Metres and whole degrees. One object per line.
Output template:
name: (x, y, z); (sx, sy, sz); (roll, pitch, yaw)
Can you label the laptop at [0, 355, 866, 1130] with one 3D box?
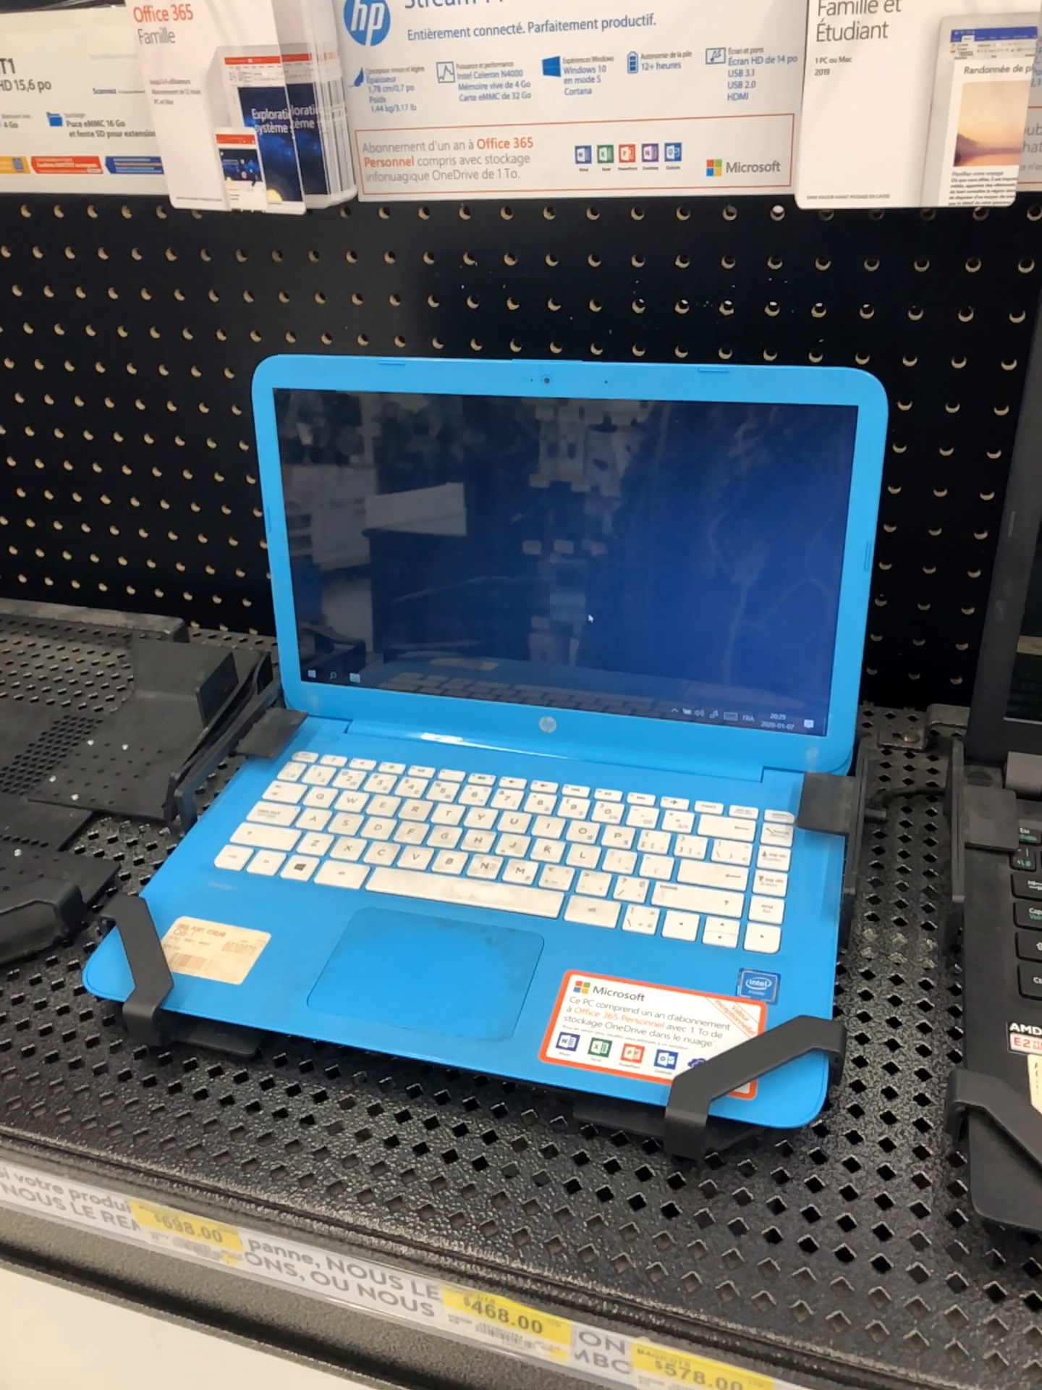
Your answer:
laptop: (-0.018, -0.012, 0.535); (0.319, 0.197, 0.270); (6, 36, 17)
